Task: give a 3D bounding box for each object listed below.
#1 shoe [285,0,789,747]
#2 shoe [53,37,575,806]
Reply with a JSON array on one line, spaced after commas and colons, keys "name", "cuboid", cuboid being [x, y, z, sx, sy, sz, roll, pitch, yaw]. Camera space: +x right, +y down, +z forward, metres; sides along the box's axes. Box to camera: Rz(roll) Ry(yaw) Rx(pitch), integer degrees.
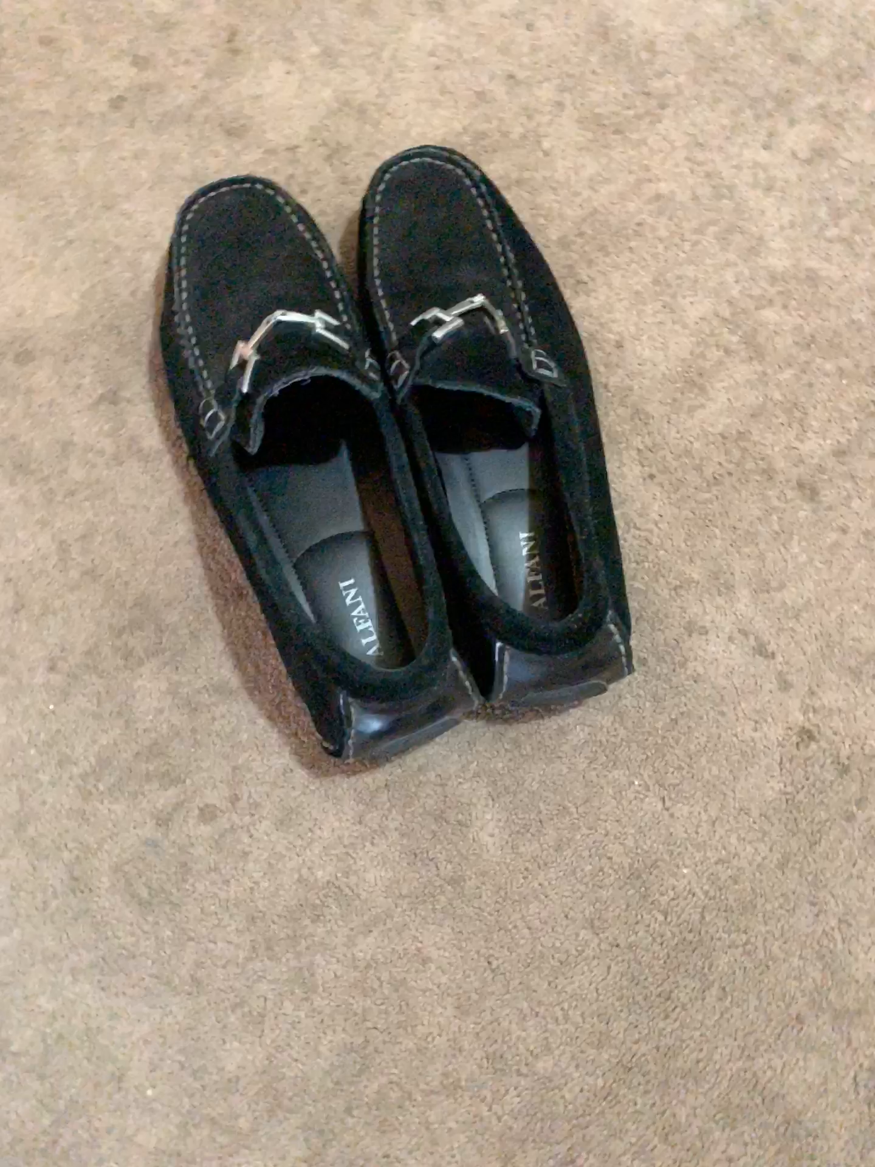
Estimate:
[{"name": "shoe", "cuboid": [0.026, -0.094, 0.395, 0.100, 0.100, 0.301, -16, 75, -10]}, {"name": "shoe", "cuboid": [-0.059, -0.070, 0.387, 0.100, 0.100, 0.301, -20, 75, -11]}]
